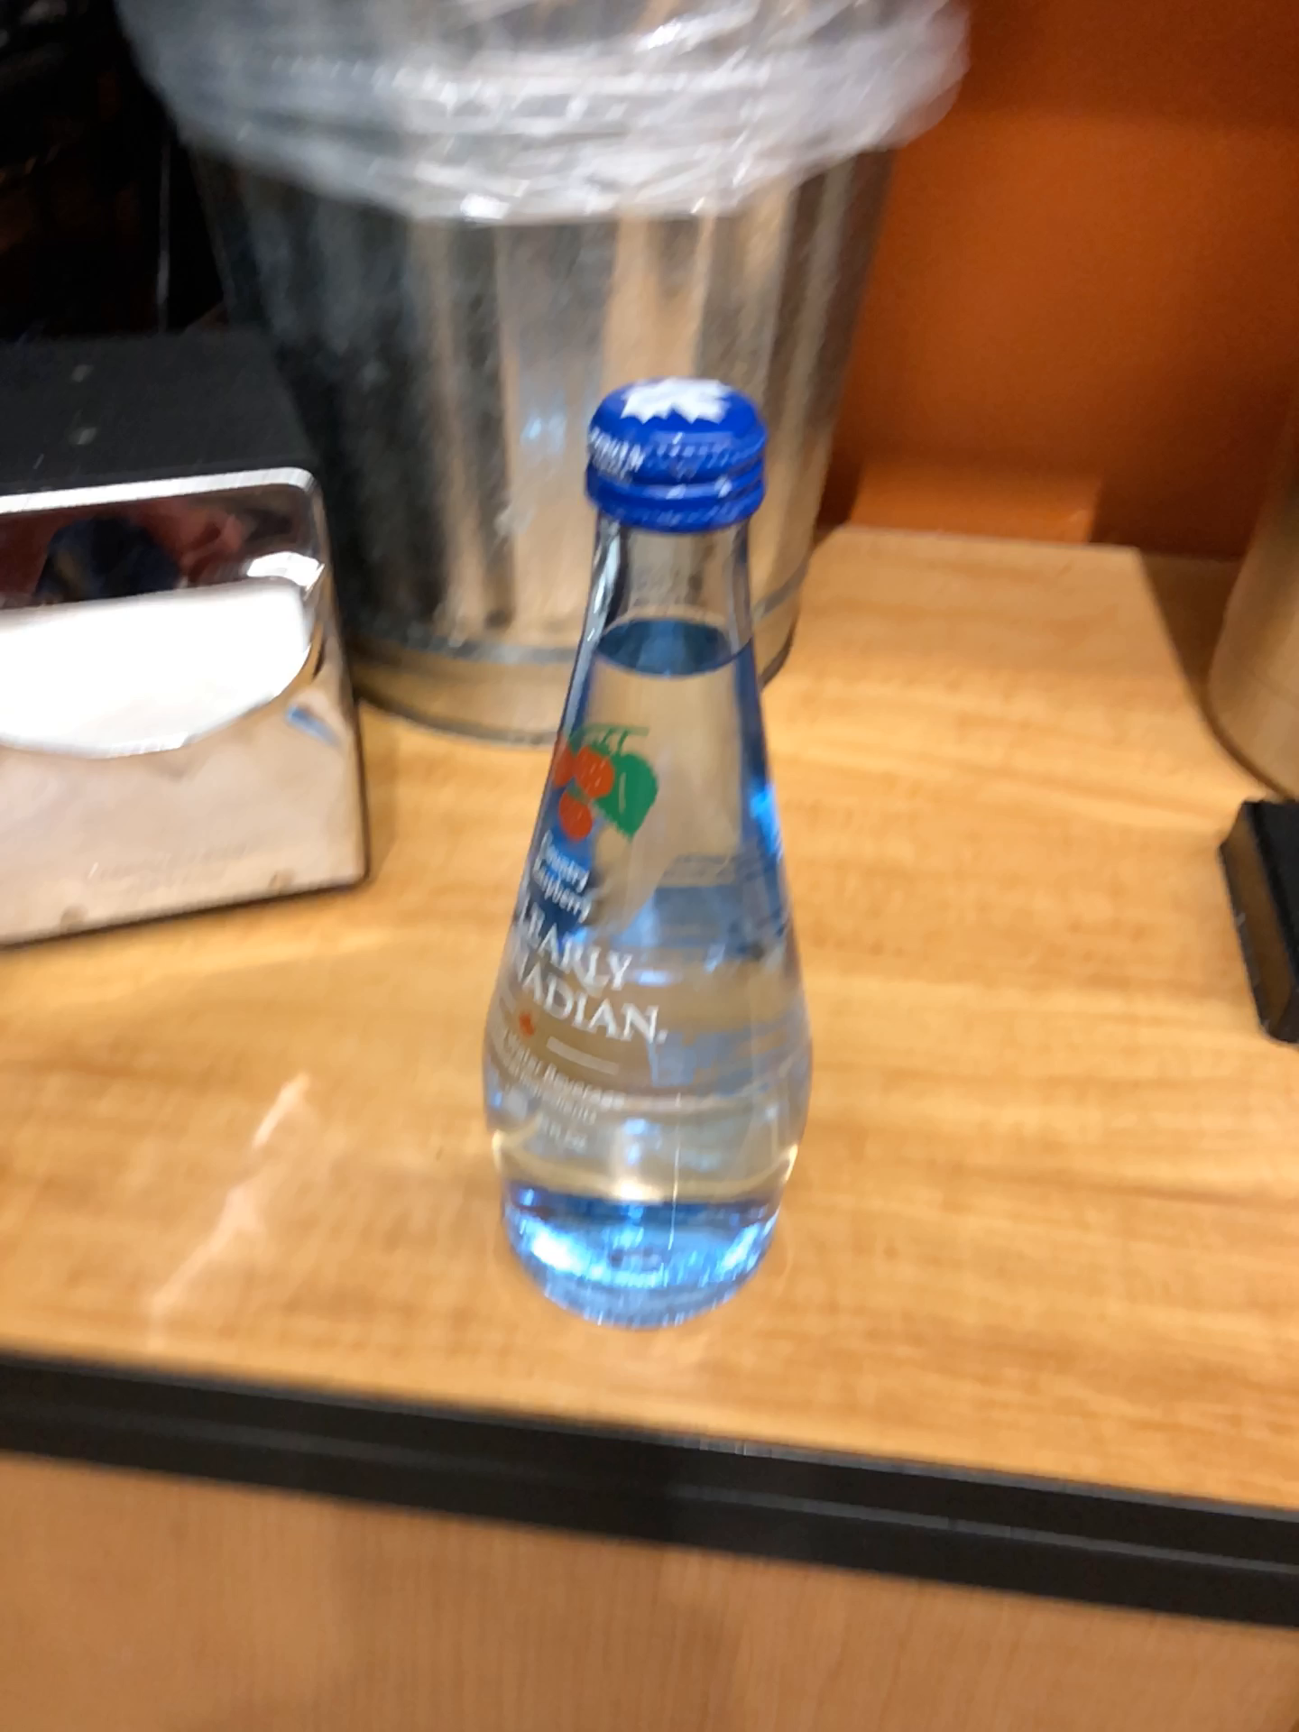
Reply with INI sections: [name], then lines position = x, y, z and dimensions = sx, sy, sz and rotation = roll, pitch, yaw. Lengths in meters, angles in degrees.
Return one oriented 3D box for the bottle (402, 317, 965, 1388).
[bottle]
position = 0.002, 0.006, 0.274
dimensions = 0.060, 0.189, 0.060
rotation = 2, 37, -1
